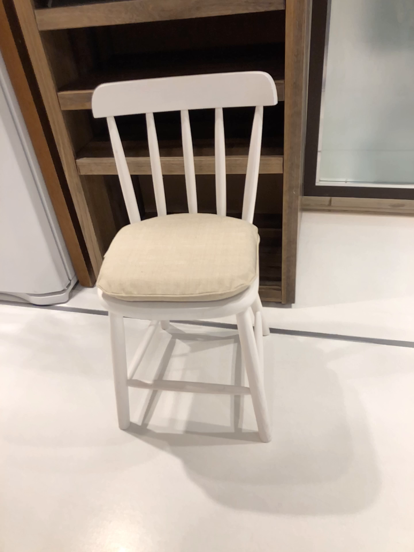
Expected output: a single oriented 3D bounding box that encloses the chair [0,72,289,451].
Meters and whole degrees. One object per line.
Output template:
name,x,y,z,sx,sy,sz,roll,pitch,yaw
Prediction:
chair,-0.044,-0.029,1.081,0.450,0.724,0.484,2,37,10
